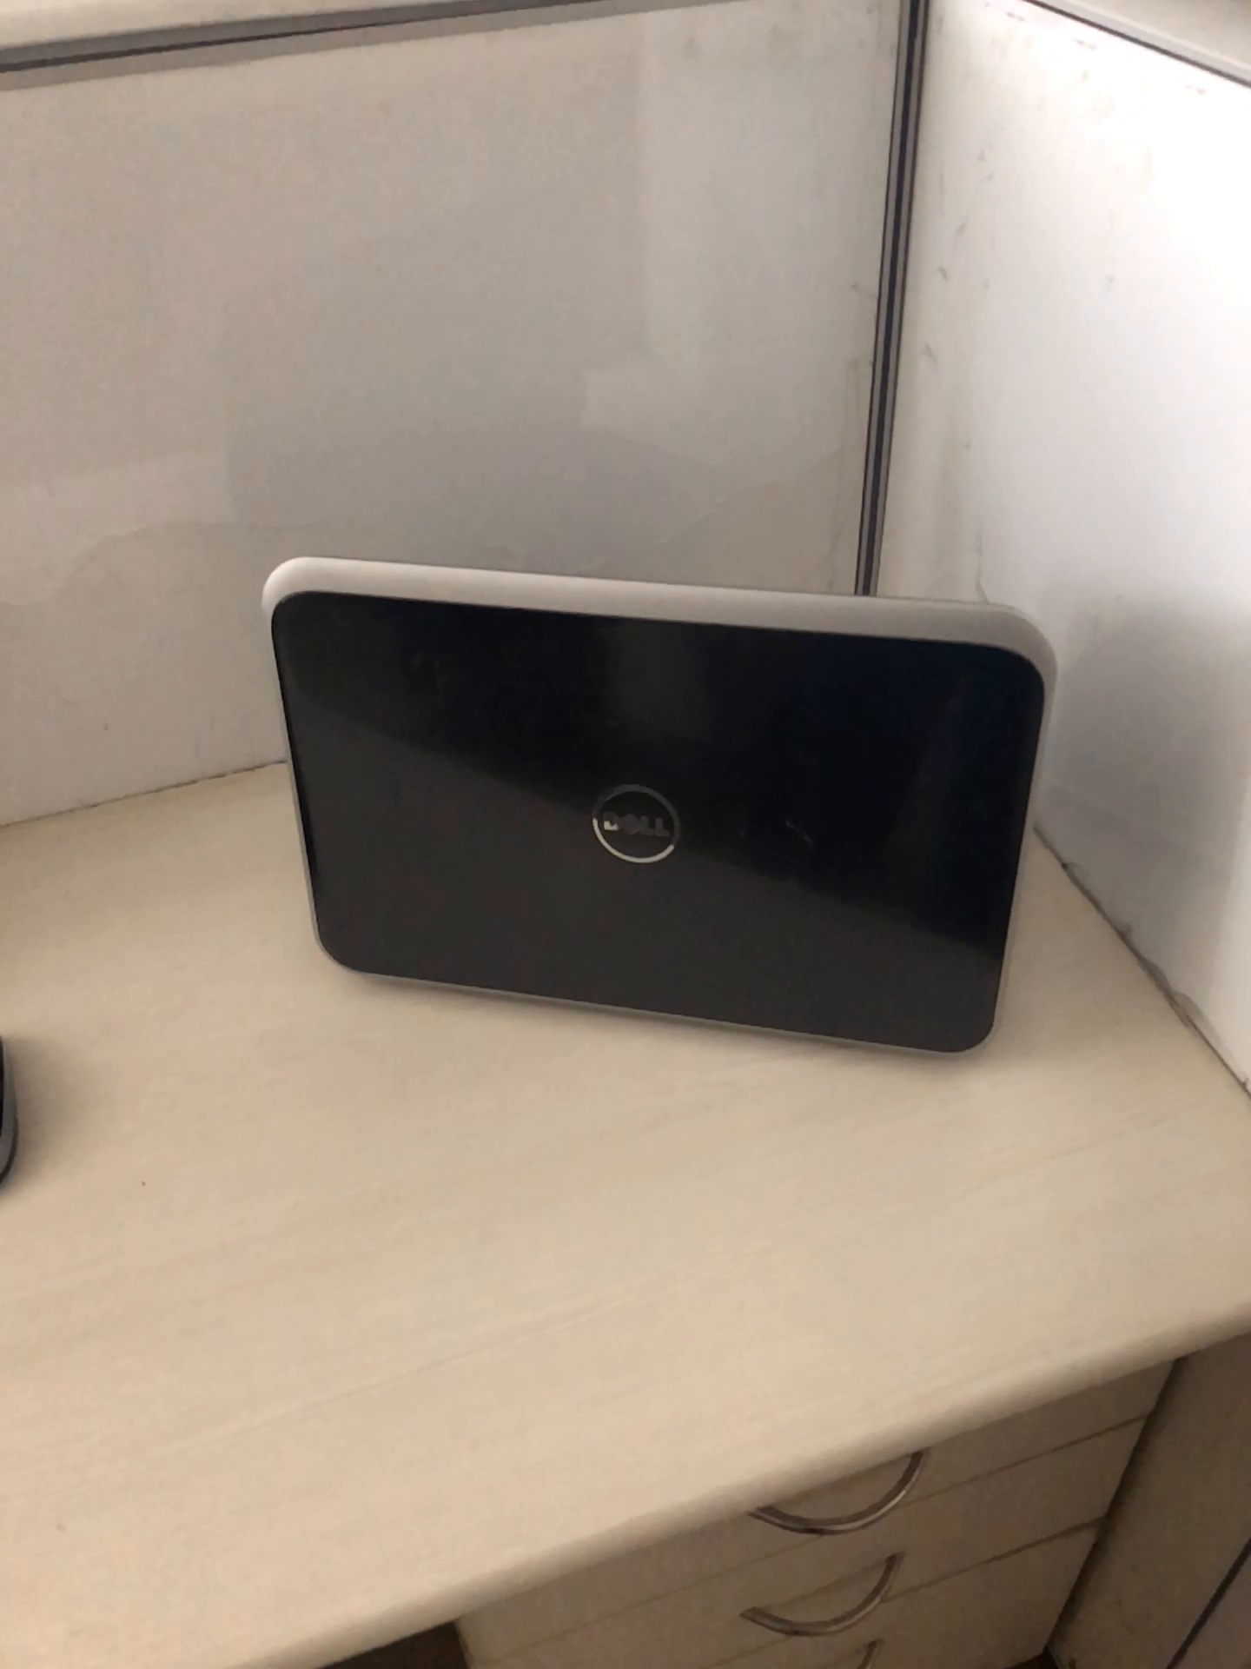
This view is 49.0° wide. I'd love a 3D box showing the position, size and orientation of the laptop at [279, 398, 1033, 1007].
[{"bbox_3d":[0.037,-0.083,0.763,0.333,0.217,0.240,7,40,9],"label":"laptop"}]
